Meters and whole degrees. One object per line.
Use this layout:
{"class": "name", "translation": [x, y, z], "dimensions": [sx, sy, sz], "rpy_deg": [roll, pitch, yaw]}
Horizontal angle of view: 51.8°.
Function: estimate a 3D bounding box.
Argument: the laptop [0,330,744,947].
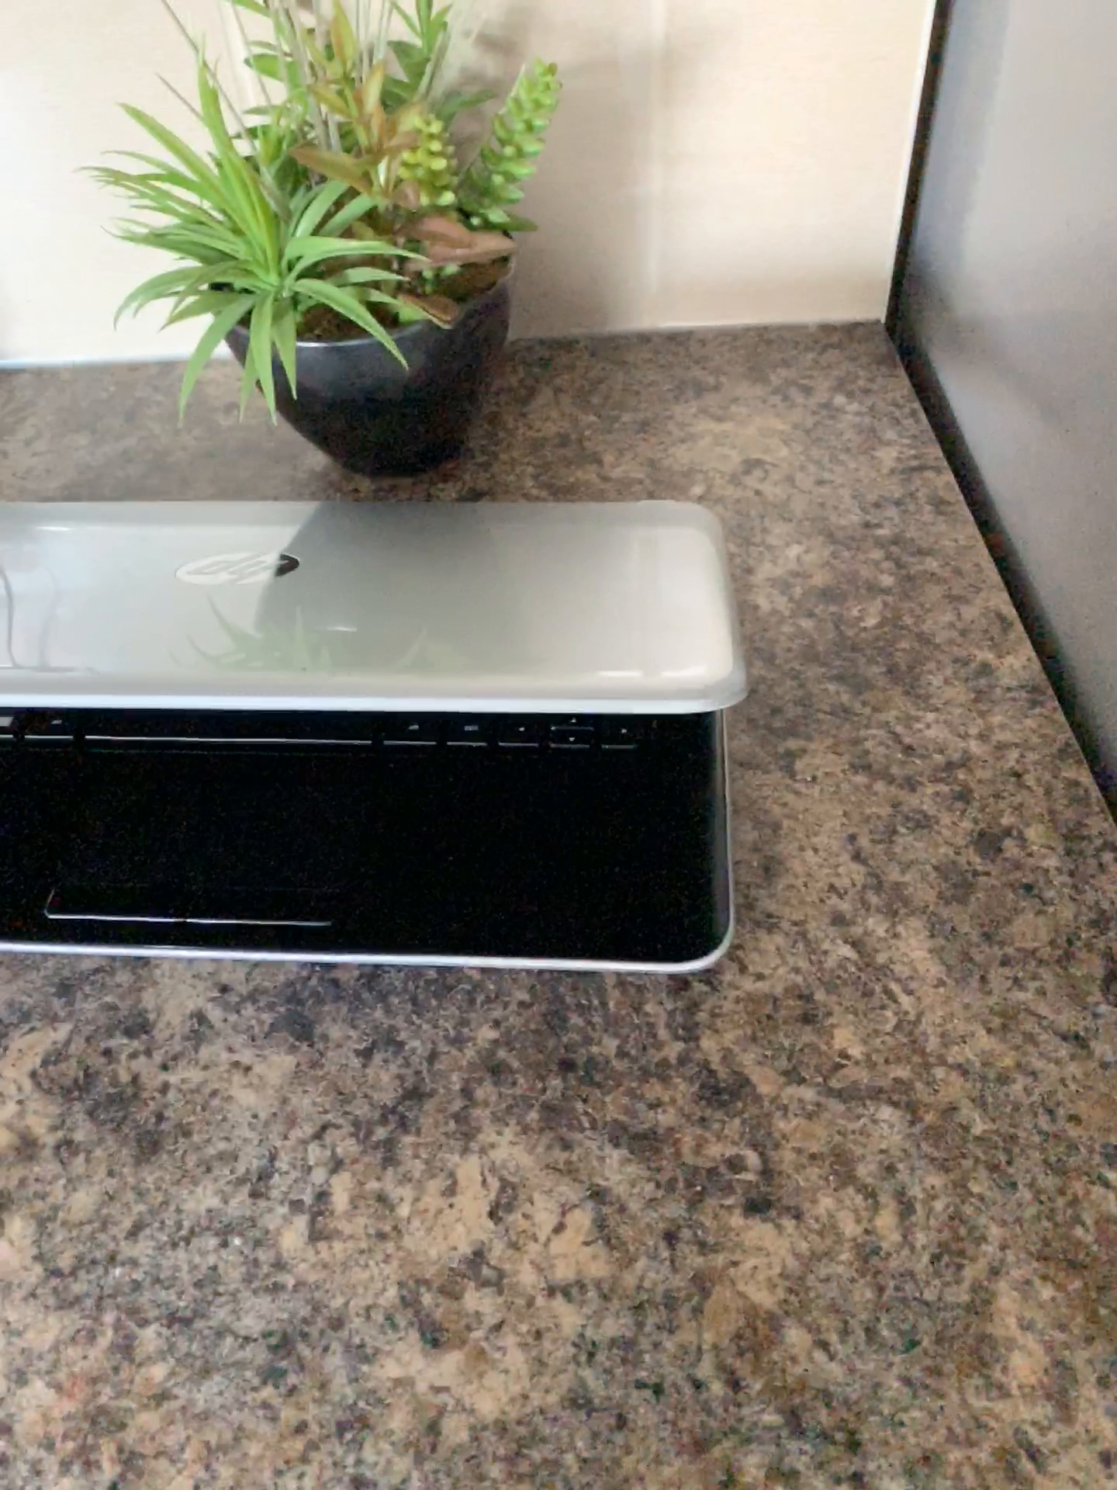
{"class": "laptop", "translation": [-0.108, -0.046, 0.392], "dimensions": [0.328, 0.081, 0.208], "rpy_deg": [0, 47, 5]}
